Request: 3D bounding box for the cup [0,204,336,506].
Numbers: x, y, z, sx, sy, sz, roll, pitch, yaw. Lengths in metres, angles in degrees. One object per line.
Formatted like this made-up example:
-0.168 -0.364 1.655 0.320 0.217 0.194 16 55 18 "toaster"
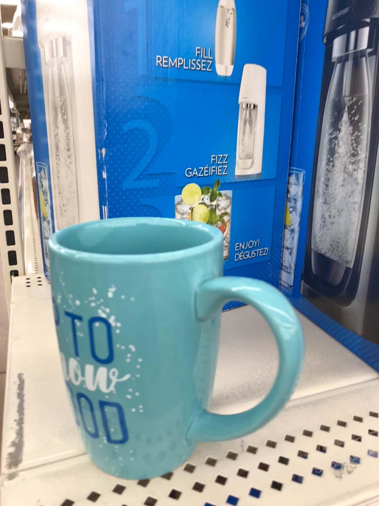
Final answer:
-0.010 0.047 0.223 0.140 0.120 0.090 10 18 28 "cup"
